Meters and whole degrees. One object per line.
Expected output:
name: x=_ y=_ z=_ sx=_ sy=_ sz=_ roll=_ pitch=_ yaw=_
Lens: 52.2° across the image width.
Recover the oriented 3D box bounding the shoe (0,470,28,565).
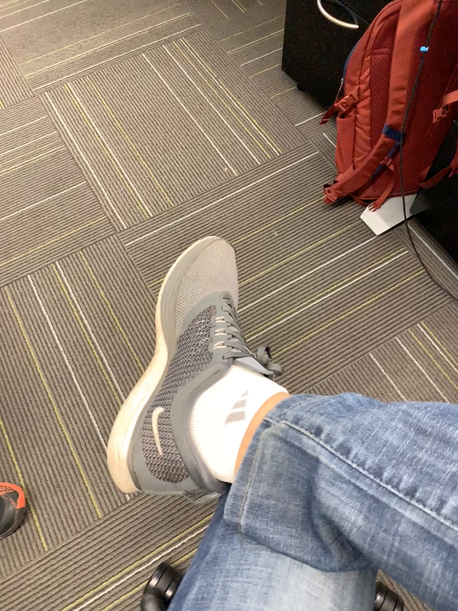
shoe: x=-0.560 y=0.417 z=0.919 sx=0.276 sy=0.117 sz=0.112 roll=-5 pitch=55 yaw=-8

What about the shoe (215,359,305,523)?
shoe: x=0.056 y=0.268 z=0.943 sx=0.117 sy=0.074 sz=0.293 roll=-10 pitch=64 yaw=-3

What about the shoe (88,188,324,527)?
shoe: x=-0.006 y=0.047 z=0.478 sx=0.142 sy=0.115 sz=0.295 roll=-10 pitch=54 yaw=35
